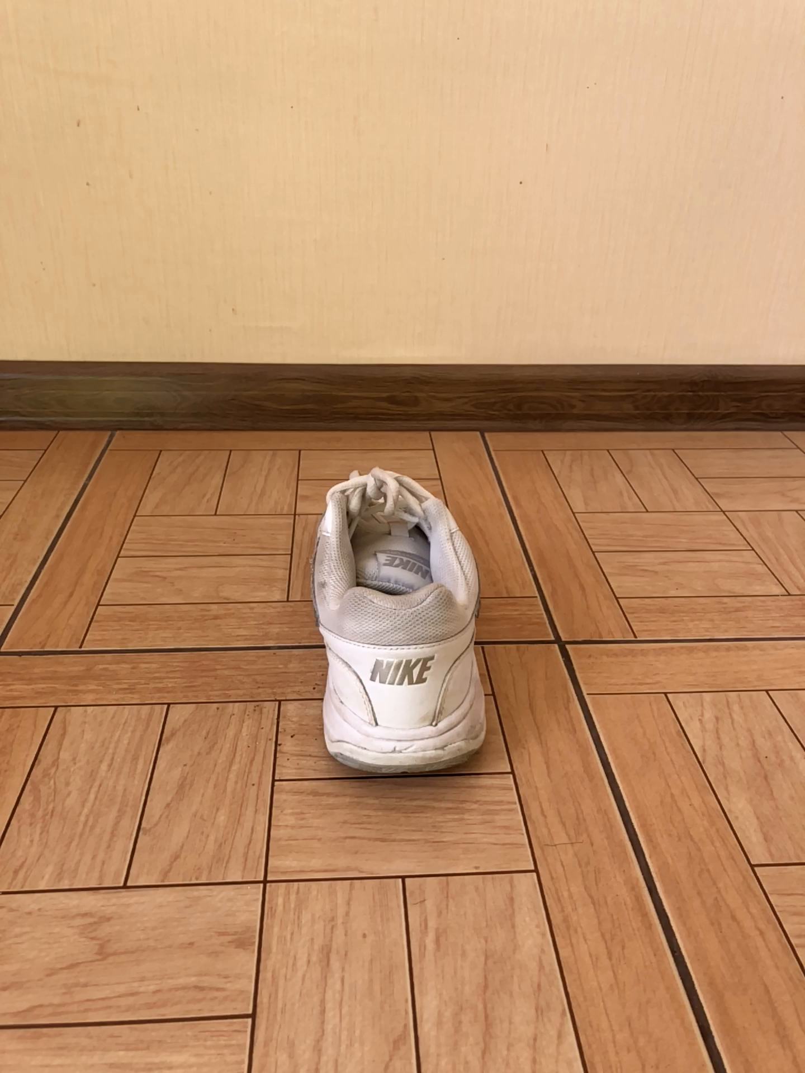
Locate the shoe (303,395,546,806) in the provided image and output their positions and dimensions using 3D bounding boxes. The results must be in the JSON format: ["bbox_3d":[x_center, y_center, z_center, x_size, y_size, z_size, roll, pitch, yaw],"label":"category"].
[{"bbox_3d":[-0.002,0.015,0.503,0.100,0.100,0.261,-1,30,-5],"label":"shoe"}]
